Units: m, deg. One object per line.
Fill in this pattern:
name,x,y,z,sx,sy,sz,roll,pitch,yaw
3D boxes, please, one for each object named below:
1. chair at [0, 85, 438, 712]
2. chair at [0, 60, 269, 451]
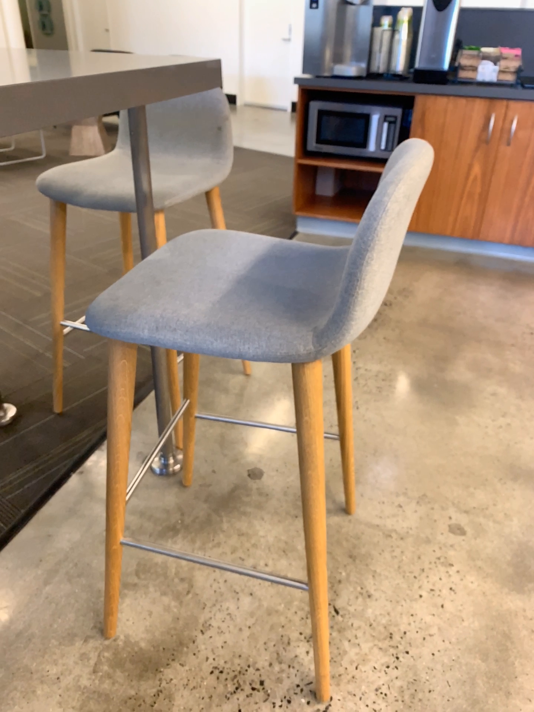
chair,-0.038,0.051,1.067,0.540,0.964,0.593,9,32,12
chair,-0.441,-0.342,1.711,0.711,0.964,0.542,14,33,20
